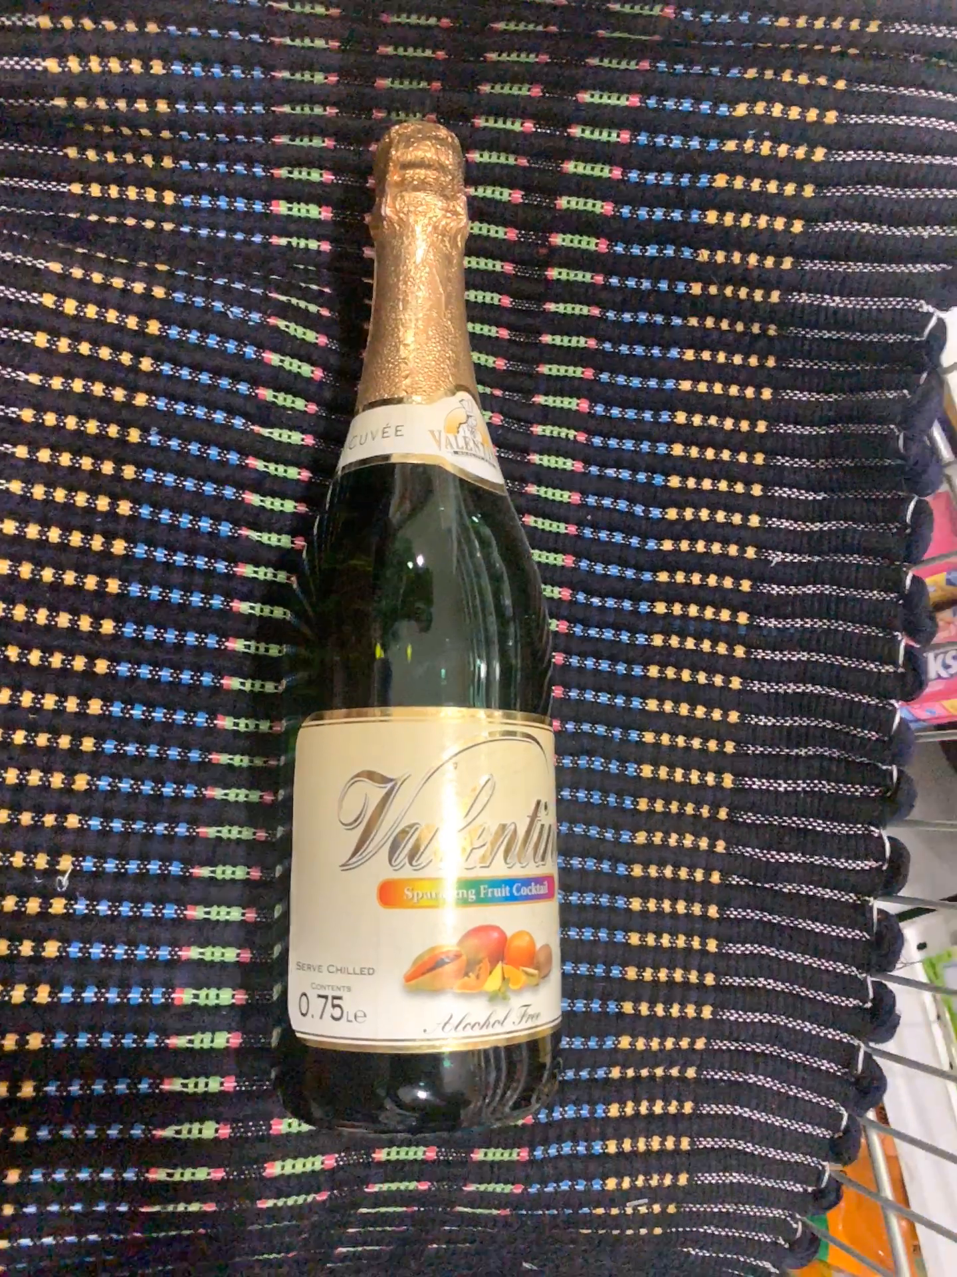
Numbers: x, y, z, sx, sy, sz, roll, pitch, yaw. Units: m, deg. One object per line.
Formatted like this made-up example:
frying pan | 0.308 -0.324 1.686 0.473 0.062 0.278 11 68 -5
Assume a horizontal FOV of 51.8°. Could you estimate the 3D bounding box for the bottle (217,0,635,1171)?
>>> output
bottle | -0.022 -0.041 0.313 0.090 0.080 0.350 6 75 -28
